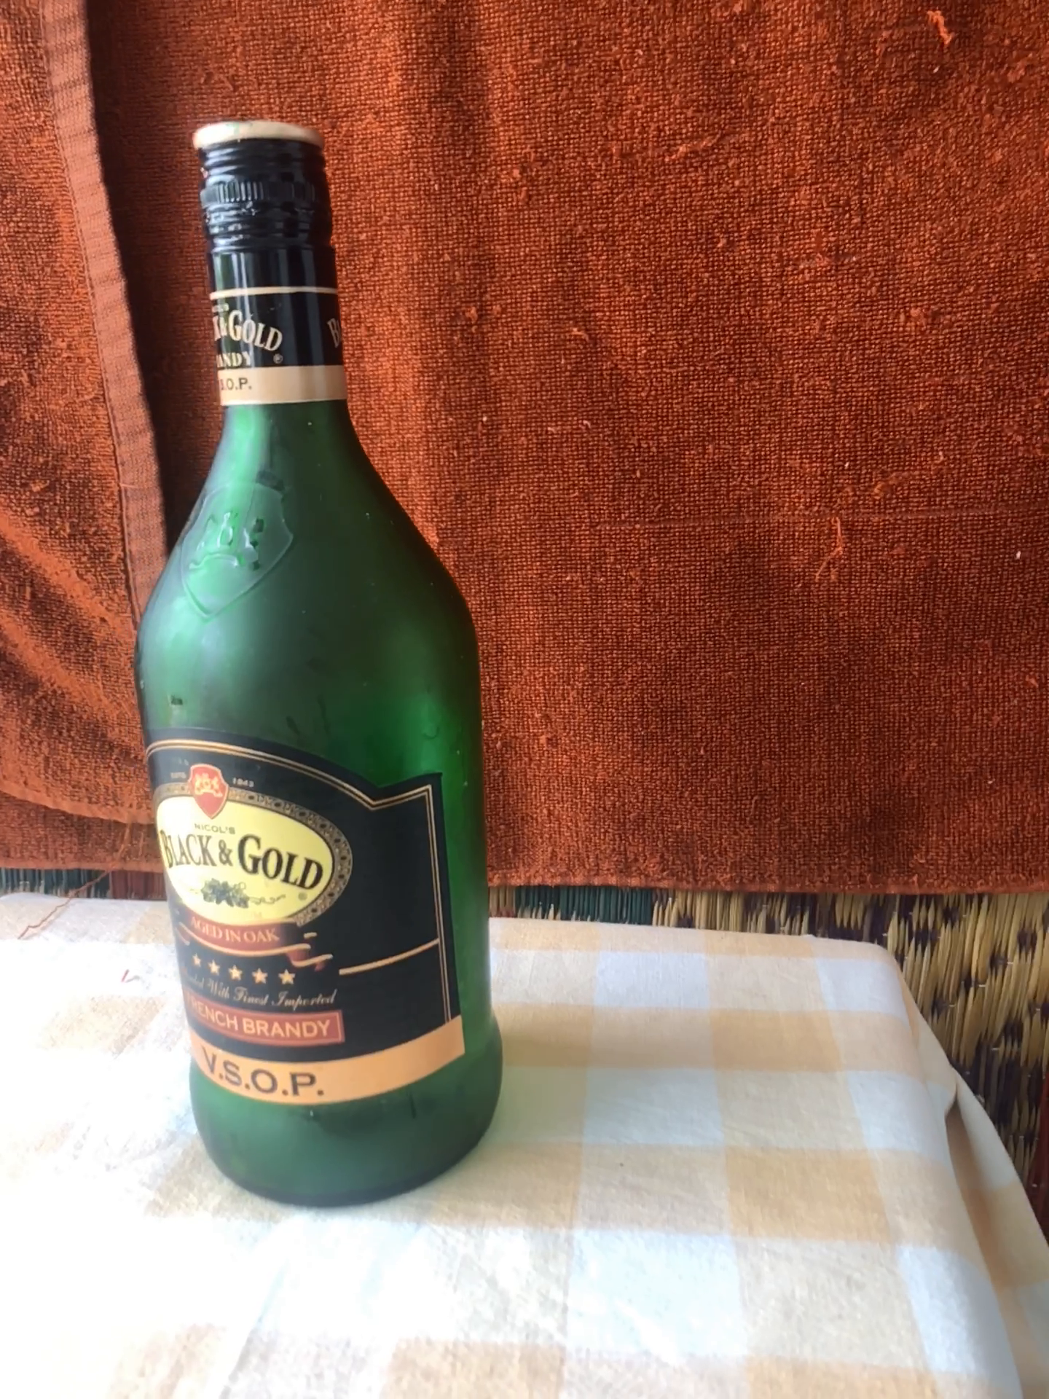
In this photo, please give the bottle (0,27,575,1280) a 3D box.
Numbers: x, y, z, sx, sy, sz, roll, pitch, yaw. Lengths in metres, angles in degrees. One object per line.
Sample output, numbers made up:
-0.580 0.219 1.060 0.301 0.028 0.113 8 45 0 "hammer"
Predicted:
-0.046 -0.005 0.286 0.090 0.259 0.080 6 18 24 "bottle"
